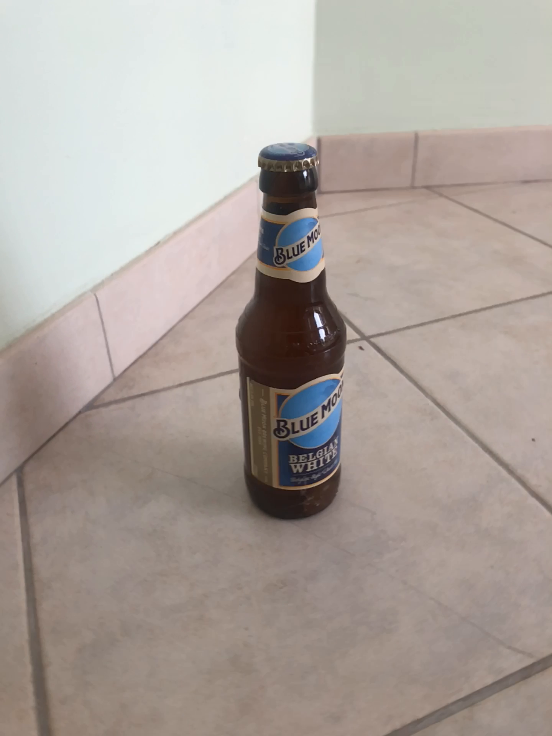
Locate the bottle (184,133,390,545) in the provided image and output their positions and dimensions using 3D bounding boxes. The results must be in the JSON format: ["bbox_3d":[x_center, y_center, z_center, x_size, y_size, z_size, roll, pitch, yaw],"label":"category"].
[{"bbox_3d":[0.005,-0.011,0.341,0.070,0.209,0.070,-1,33,0],"label":"bottle"}]
